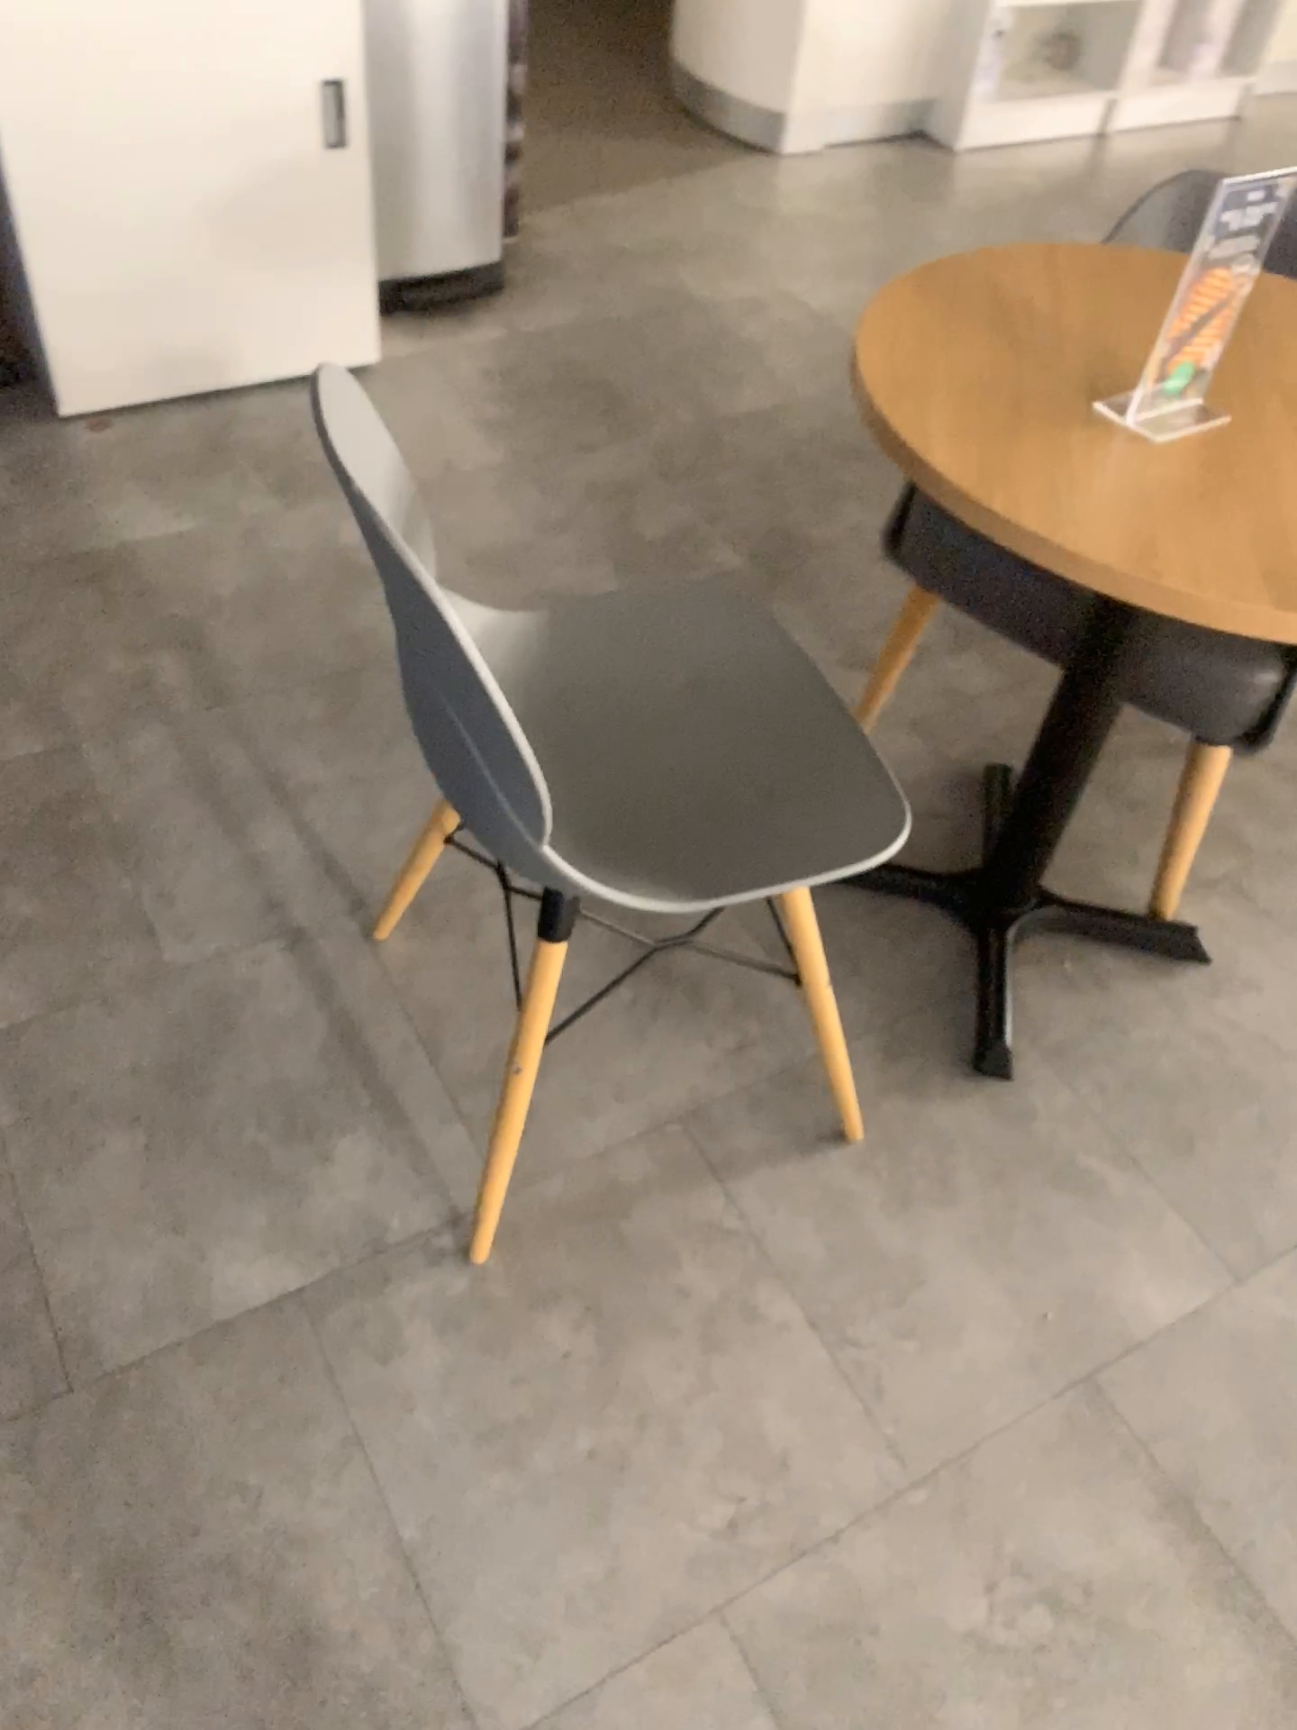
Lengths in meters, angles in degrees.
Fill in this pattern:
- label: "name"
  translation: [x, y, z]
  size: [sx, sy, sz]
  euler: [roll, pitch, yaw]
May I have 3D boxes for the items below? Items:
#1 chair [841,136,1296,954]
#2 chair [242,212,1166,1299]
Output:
- label: "chair"
  translation: [0.699, -0.417, 1.758]
  size: [0.512, 0.753, 0.557]
  euler: [-33, 58, -32]
- label: "chair"
  translation: [-0.023, -0.083, 1.259]
  size: [0.521, 0.803, 0.509]
  euler: [-12, 49, -18]
